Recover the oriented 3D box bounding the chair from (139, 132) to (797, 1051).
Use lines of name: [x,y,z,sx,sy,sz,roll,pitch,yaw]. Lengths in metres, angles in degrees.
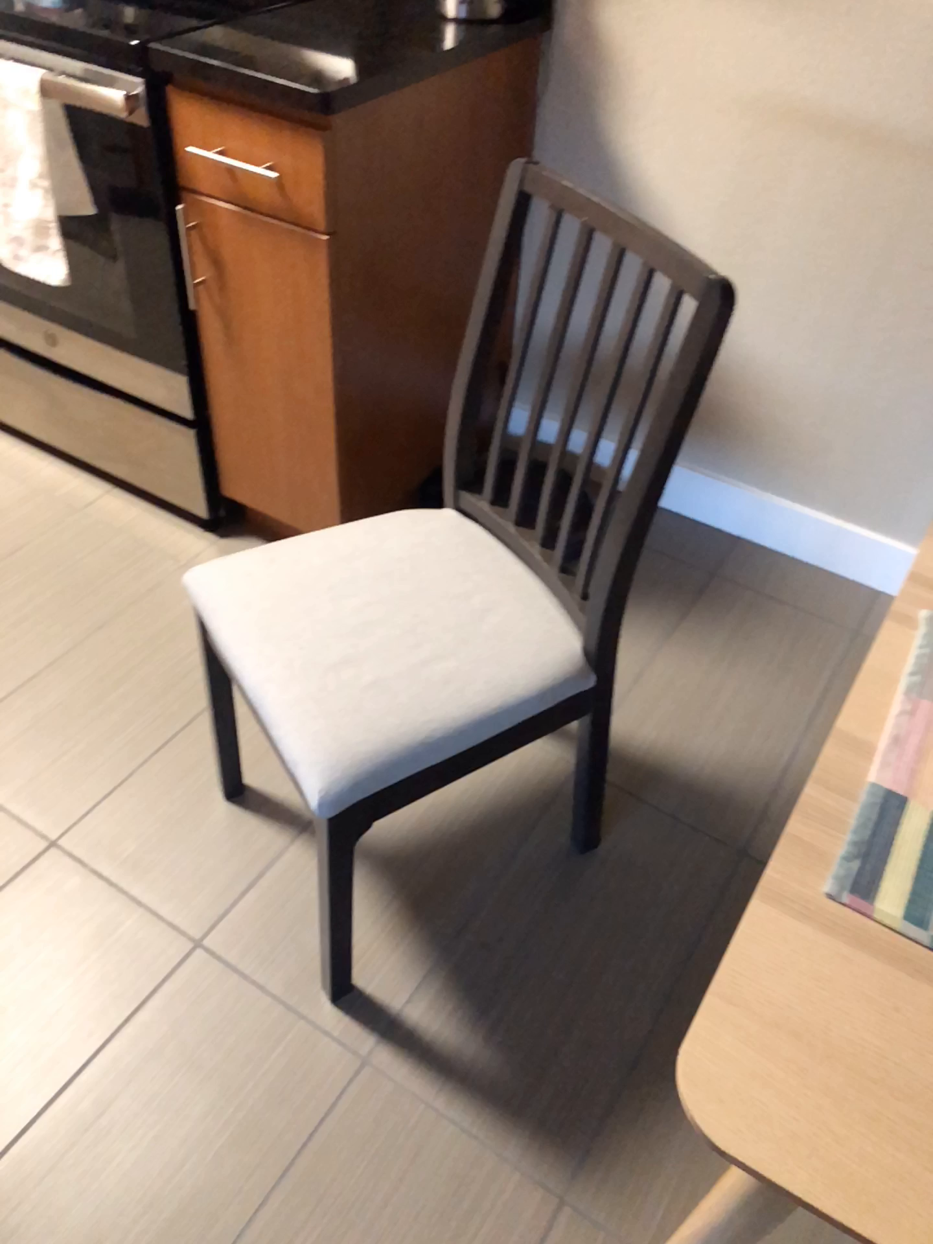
chair: [-0.051,0.015,1.425,0.511,1.125,0.482,-16,46,-22]
